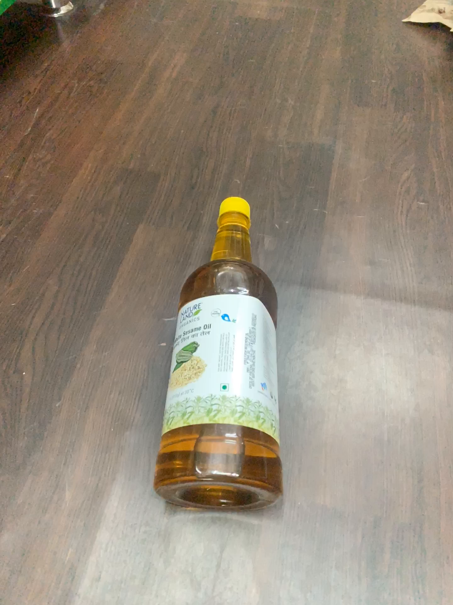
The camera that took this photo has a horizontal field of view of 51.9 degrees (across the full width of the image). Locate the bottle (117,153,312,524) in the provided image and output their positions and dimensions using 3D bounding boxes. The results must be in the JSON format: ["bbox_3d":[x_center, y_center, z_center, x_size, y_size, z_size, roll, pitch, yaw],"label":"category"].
[{"bbox_3d":[0.003,0.015,0.368,0.080,0.090,0.271,-28,41,36],"label":"bottle"}]
